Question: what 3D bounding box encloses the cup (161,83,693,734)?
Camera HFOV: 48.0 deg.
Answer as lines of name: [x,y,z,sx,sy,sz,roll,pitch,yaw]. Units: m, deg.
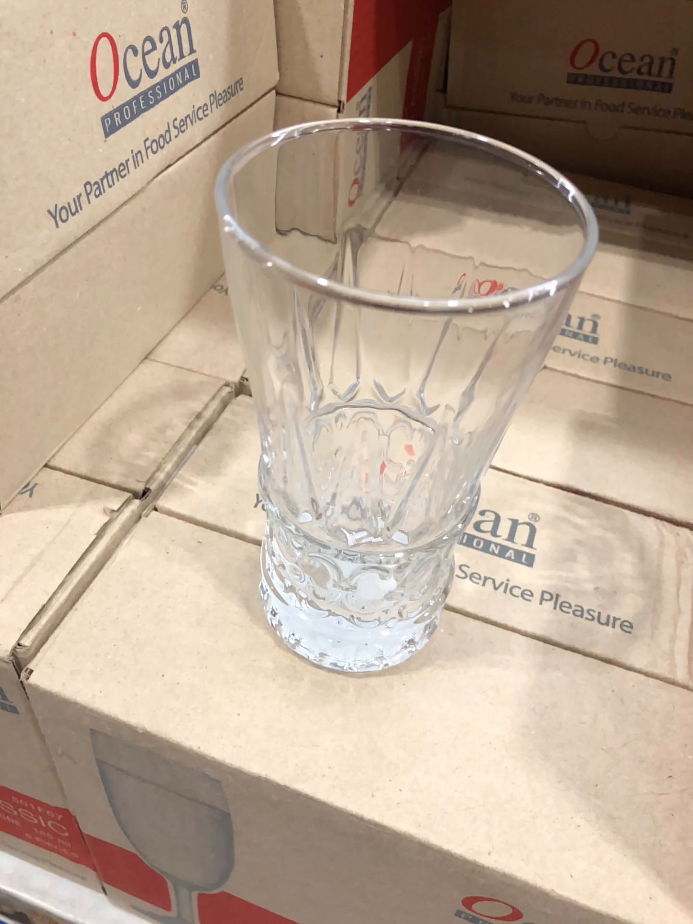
cup: [0.012,-0.015,0.210,0.100,0.129,0.100,3,44,-3]
